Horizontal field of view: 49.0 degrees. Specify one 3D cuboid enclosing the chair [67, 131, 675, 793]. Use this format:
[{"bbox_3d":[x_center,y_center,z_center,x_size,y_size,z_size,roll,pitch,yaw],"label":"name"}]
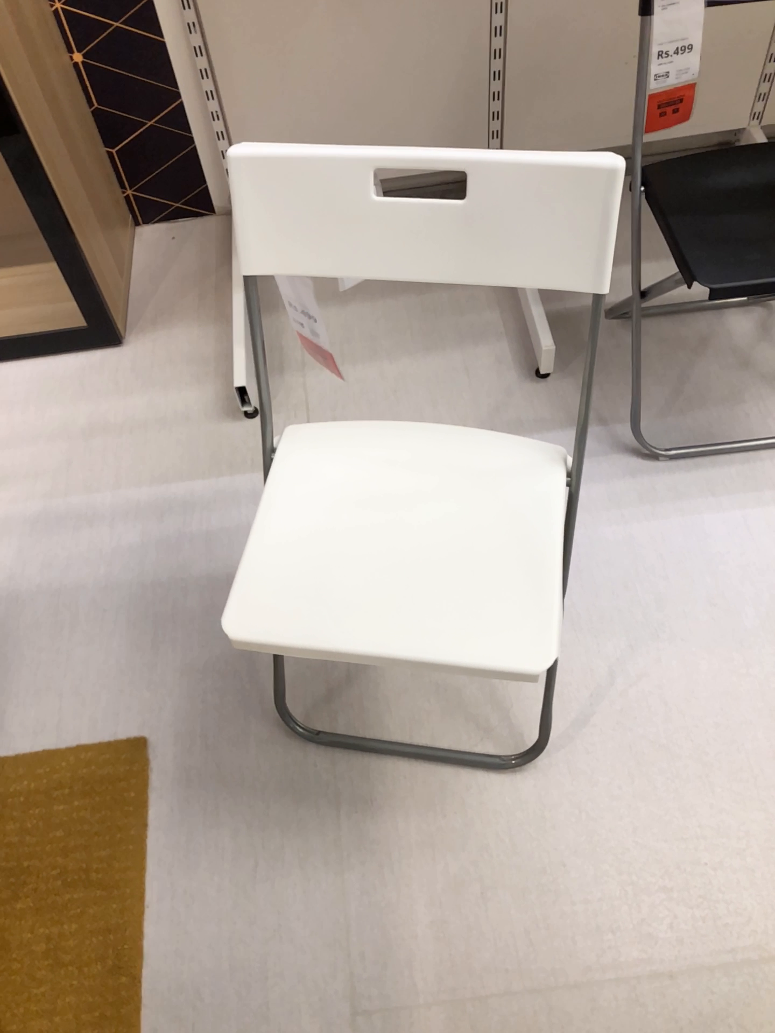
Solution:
[{"bbox_3d":[0.038,-0.005,1.026,0.450,0.726,0.402,6,57,9],"label":"chair"}]
